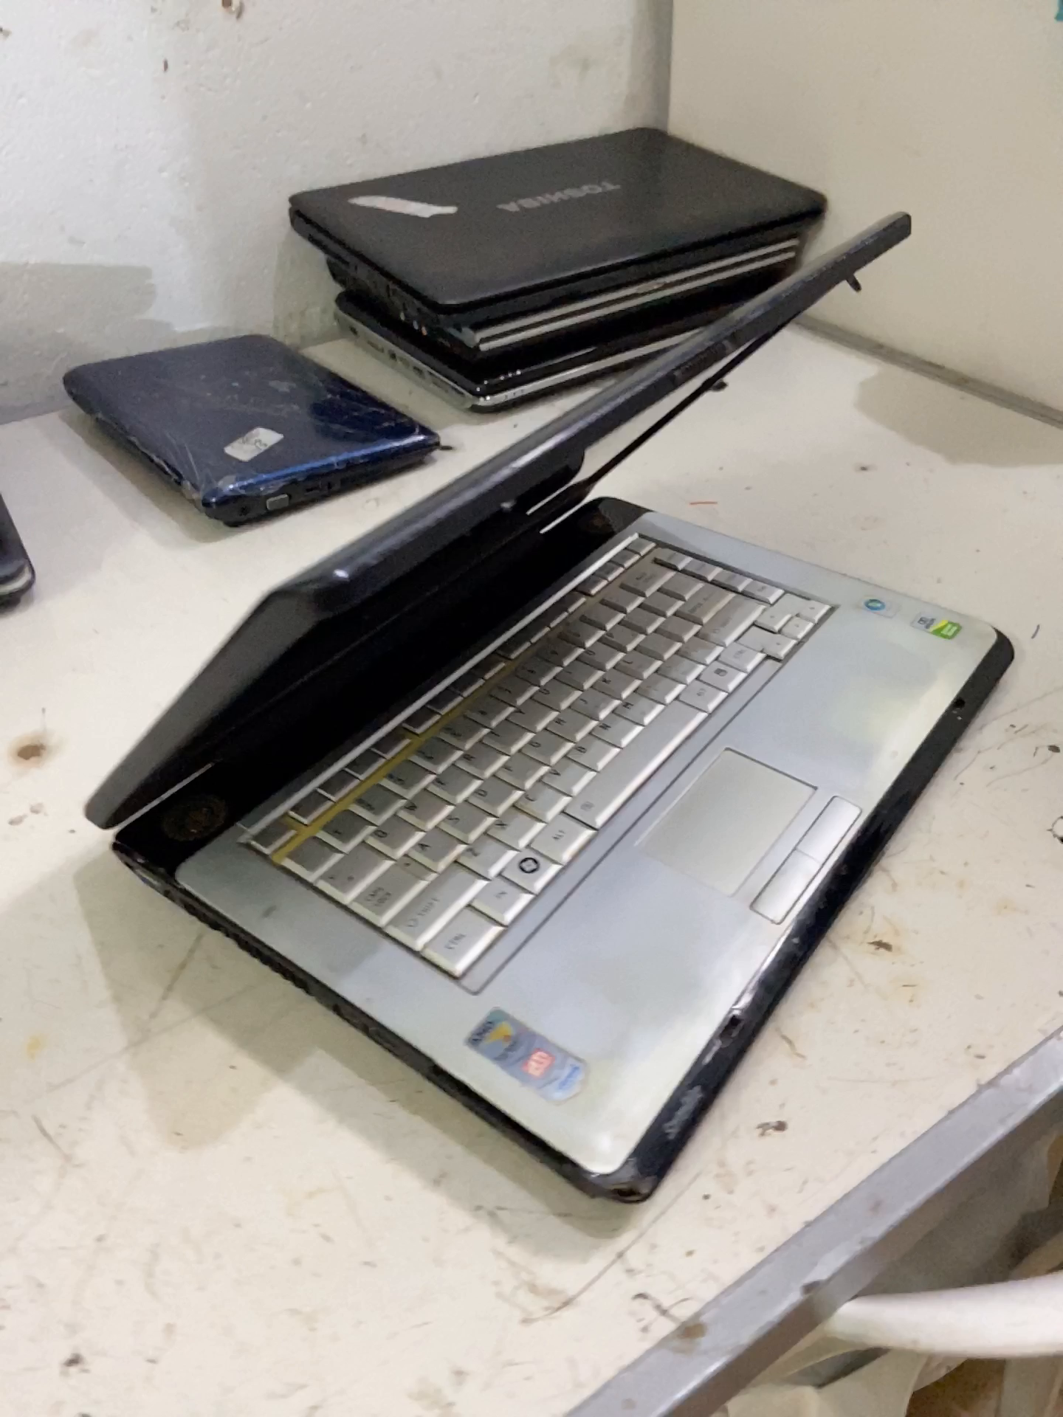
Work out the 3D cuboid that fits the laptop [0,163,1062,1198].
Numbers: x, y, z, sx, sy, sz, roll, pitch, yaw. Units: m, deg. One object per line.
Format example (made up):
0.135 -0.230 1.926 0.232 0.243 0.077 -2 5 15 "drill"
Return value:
0.033 -0.063 0.448 0.257 0.185 0.357 25 47 28 "laptop"
